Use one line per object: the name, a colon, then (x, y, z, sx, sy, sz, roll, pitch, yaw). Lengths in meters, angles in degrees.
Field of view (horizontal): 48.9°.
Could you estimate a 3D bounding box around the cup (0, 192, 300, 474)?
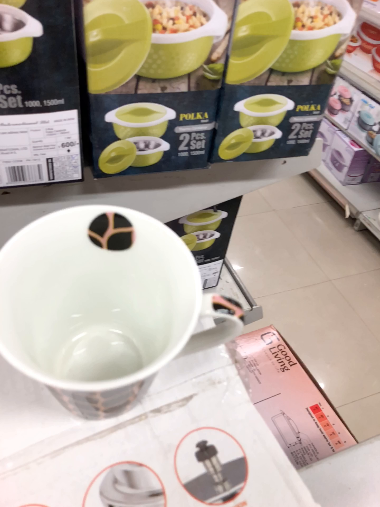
cup: (-0.029, 0.033, 0.189, 0.110, 0.080, 0.090, -2, 51, -12)
